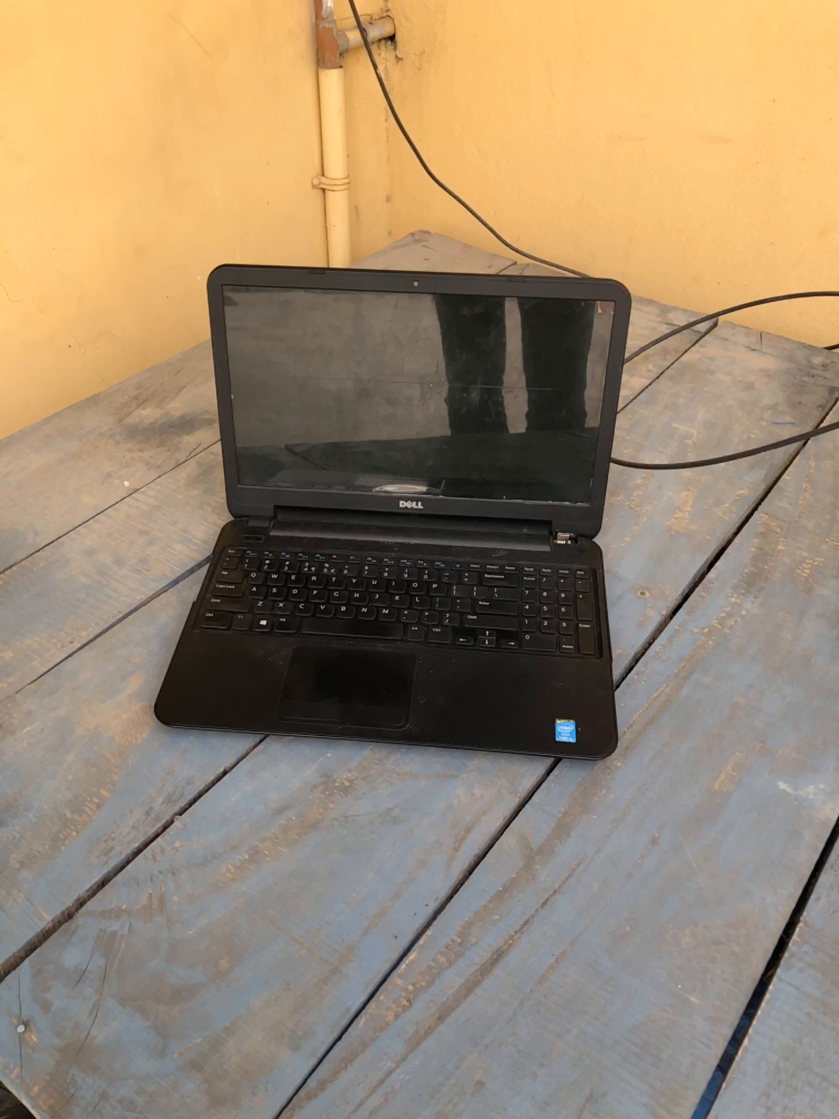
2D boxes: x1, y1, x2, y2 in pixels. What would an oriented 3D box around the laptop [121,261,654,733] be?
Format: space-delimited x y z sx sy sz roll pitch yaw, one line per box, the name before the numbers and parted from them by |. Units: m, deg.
laptop | -0.007 -0.065 0.747 0.331 0.214 0.308 3 41 4
